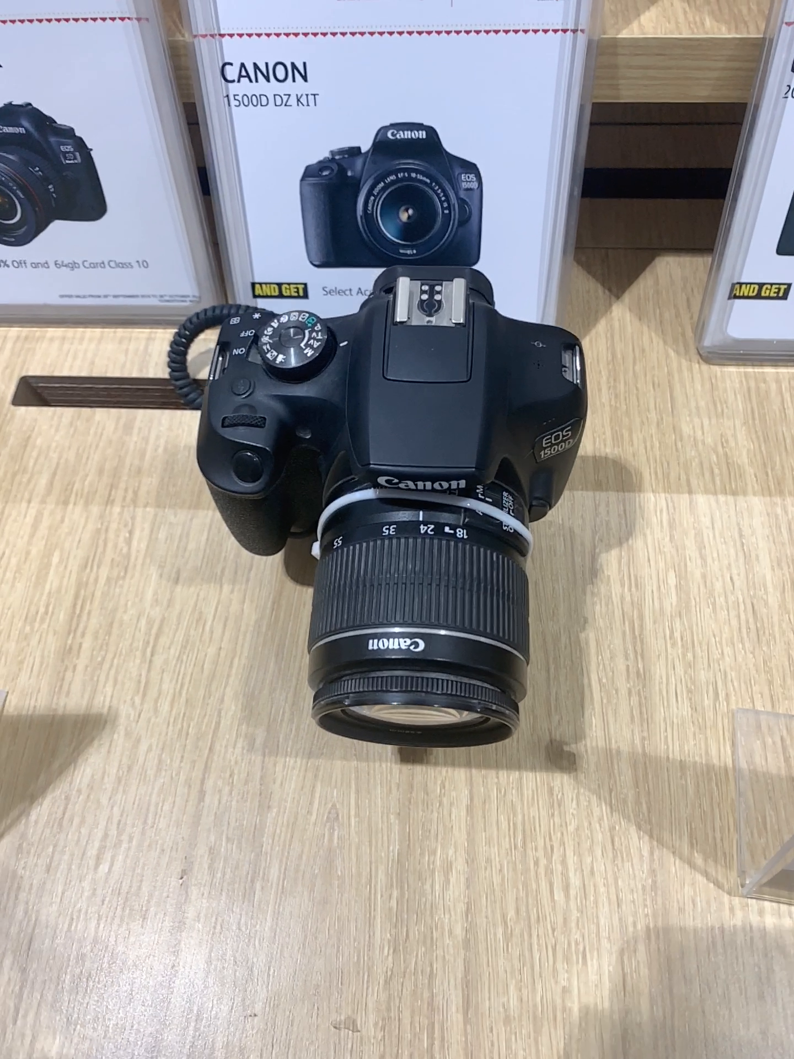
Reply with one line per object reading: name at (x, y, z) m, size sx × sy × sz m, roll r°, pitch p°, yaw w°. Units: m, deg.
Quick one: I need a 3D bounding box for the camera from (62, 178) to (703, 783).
camera at (0.001, -0.014, 0.261) m, size 0.140 × 0.100 × 0.160 m, roll 0°, pitch 61°, yaw 4°
